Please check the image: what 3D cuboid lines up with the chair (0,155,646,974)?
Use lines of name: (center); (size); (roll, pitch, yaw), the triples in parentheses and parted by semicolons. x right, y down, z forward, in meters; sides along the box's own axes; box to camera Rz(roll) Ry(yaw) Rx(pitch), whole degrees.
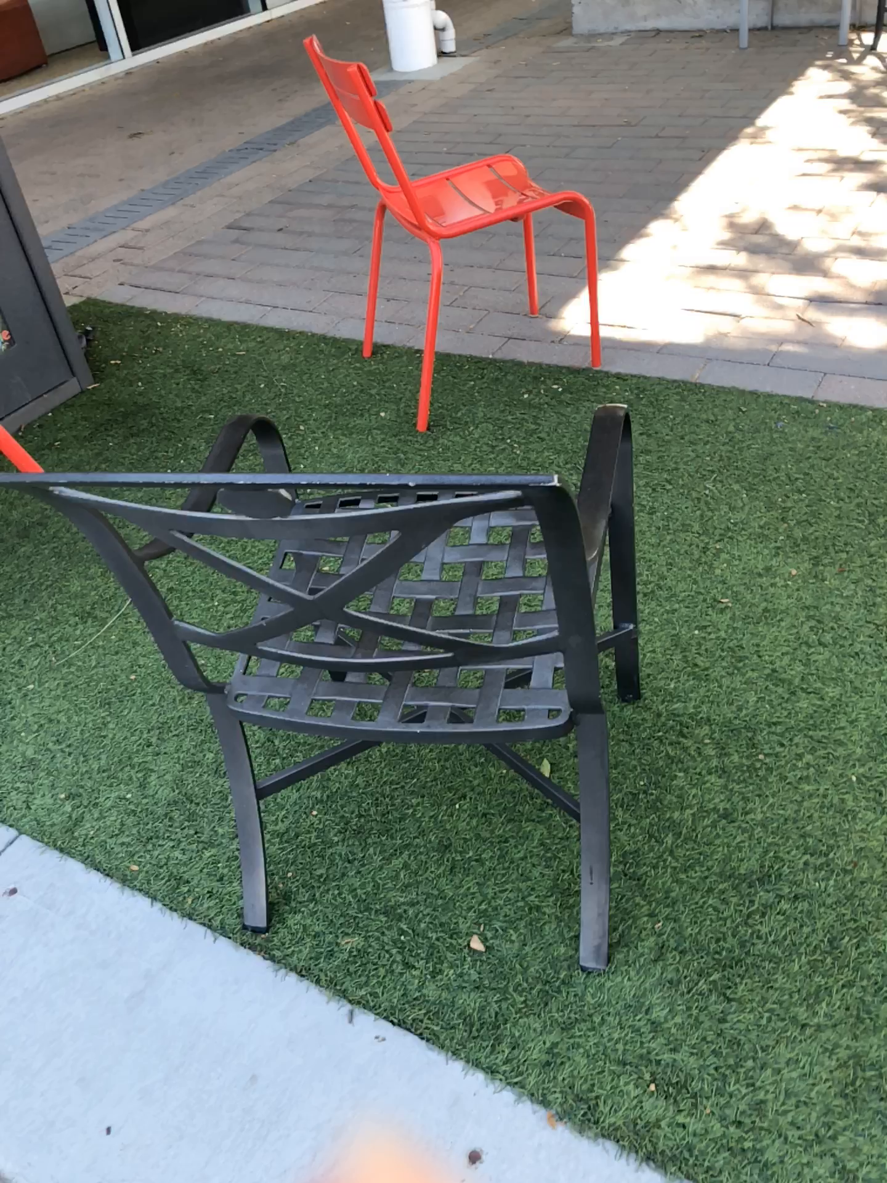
chair: (-0.069, -0.032, 1.307); (0.641, 0.805, 0.643); (2, 42, 14)
